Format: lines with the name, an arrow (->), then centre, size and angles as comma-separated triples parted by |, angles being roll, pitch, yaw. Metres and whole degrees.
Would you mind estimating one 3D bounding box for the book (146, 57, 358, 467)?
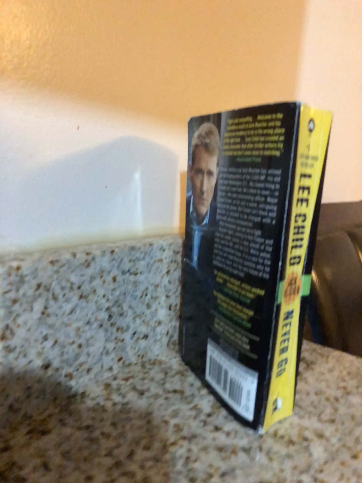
book -> 0.032, 0.005, 0.293 | 0.050, 0.220, 0.160 | 2, 8, -23
